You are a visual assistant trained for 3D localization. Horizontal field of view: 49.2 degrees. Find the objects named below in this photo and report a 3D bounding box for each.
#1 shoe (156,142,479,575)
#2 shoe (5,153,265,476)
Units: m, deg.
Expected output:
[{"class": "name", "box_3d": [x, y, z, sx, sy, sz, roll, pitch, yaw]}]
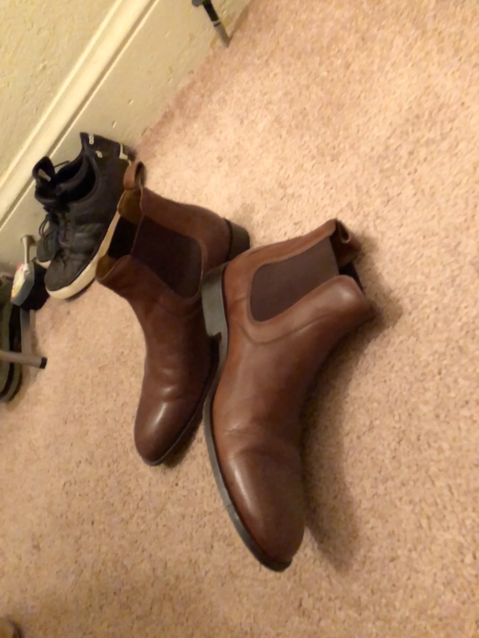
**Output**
[{"class": "shoe", "box_3d": [0.046, 0.031, 0.440, 0.169, 0.119, 0.297, -36, 50, 29]}, {"class": "shoe", "box_3d": [-0.108, -0.001, 0.572, 0.109, 0.158, 0.296, 12, 81, 49]}]
